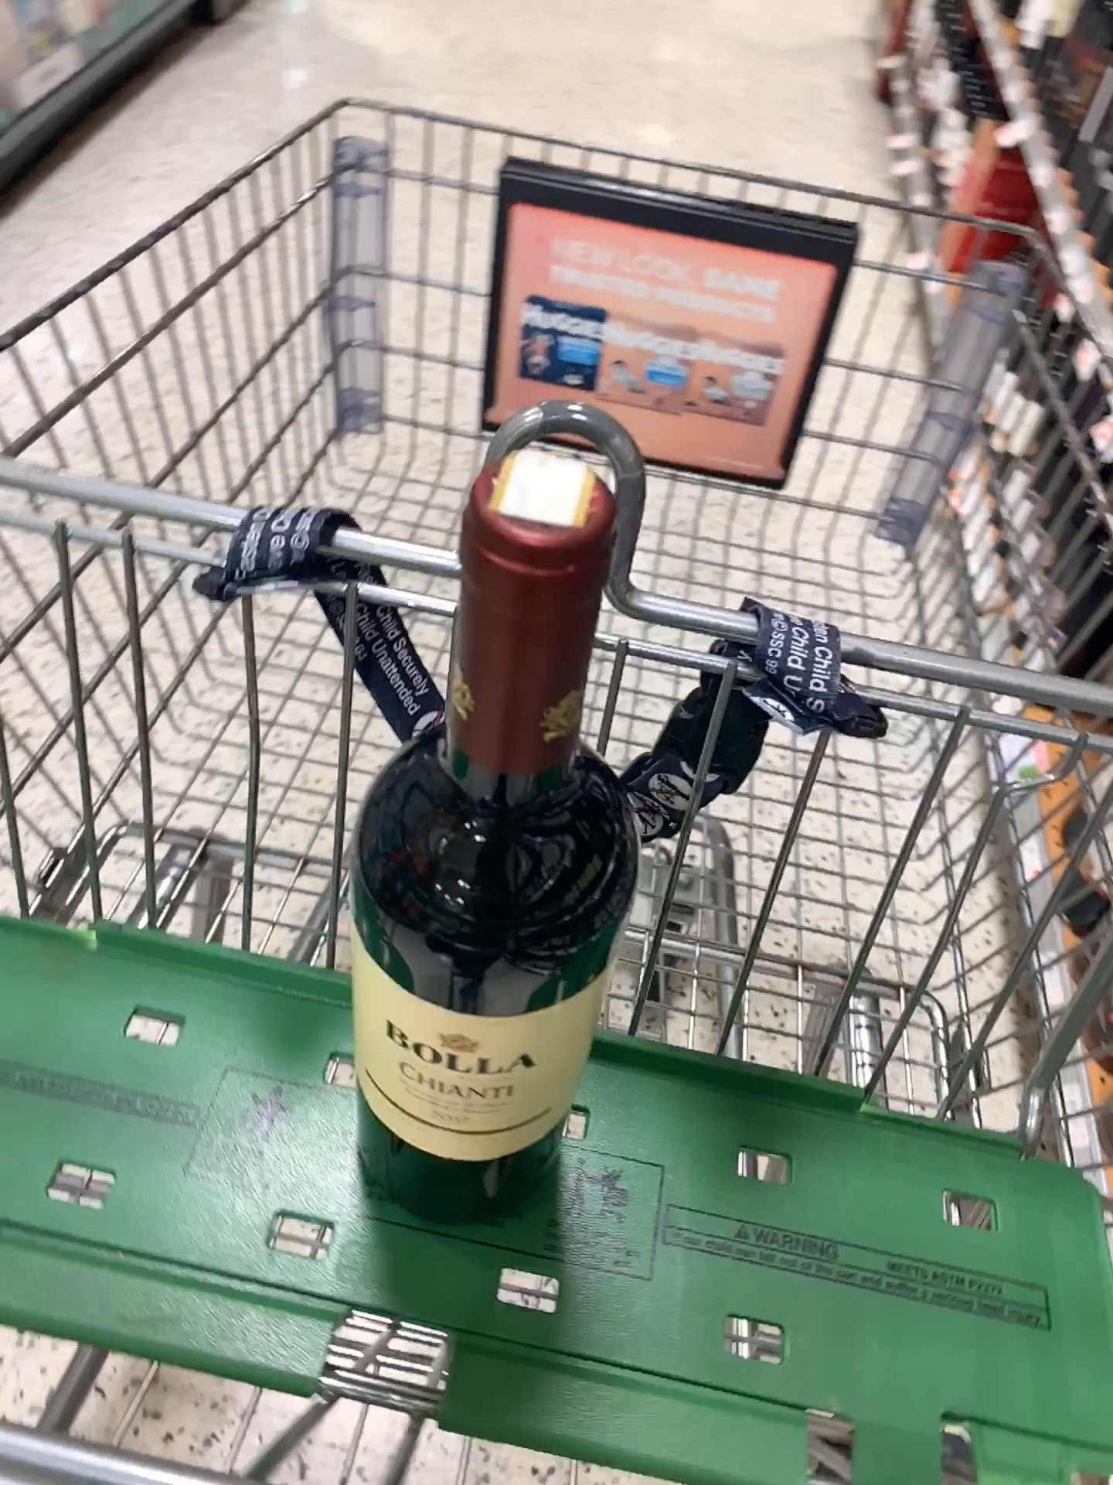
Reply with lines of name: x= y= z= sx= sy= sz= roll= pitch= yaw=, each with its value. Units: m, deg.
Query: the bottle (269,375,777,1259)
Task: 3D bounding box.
bottle: x=-0.016 y=0.047 z=0.317 sx=0.080 sy=0.267 sz=0.081 roll=4 pitch=48 yaw=-5
